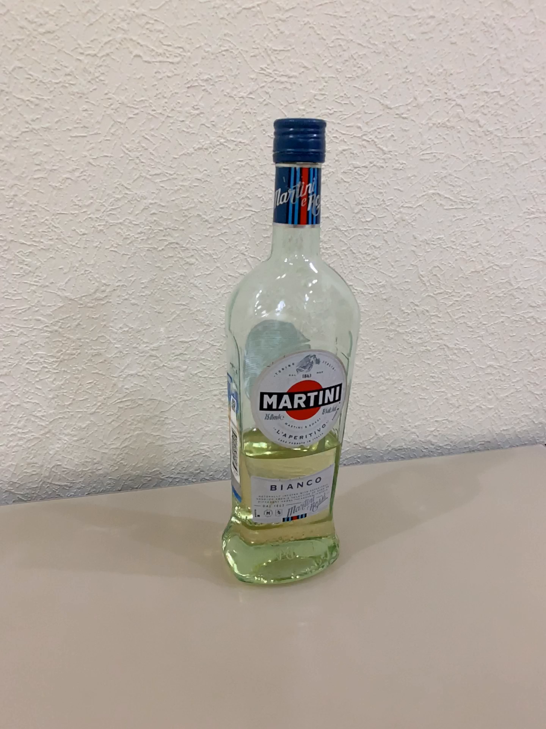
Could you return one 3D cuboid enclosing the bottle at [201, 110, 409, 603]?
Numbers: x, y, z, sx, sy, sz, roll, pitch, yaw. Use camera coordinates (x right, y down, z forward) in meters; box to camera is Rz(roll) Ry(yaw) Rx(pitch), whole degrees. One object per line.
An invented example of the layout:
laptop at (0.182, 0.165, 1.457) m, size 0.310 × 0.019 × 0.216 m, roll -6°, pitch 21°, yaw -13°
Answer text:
bottle at (0.009, 0.000, 0.386) m, size 0.100 × 0.309 × 0.080 m, roll -5°, pitch 21°, yaw -20°
